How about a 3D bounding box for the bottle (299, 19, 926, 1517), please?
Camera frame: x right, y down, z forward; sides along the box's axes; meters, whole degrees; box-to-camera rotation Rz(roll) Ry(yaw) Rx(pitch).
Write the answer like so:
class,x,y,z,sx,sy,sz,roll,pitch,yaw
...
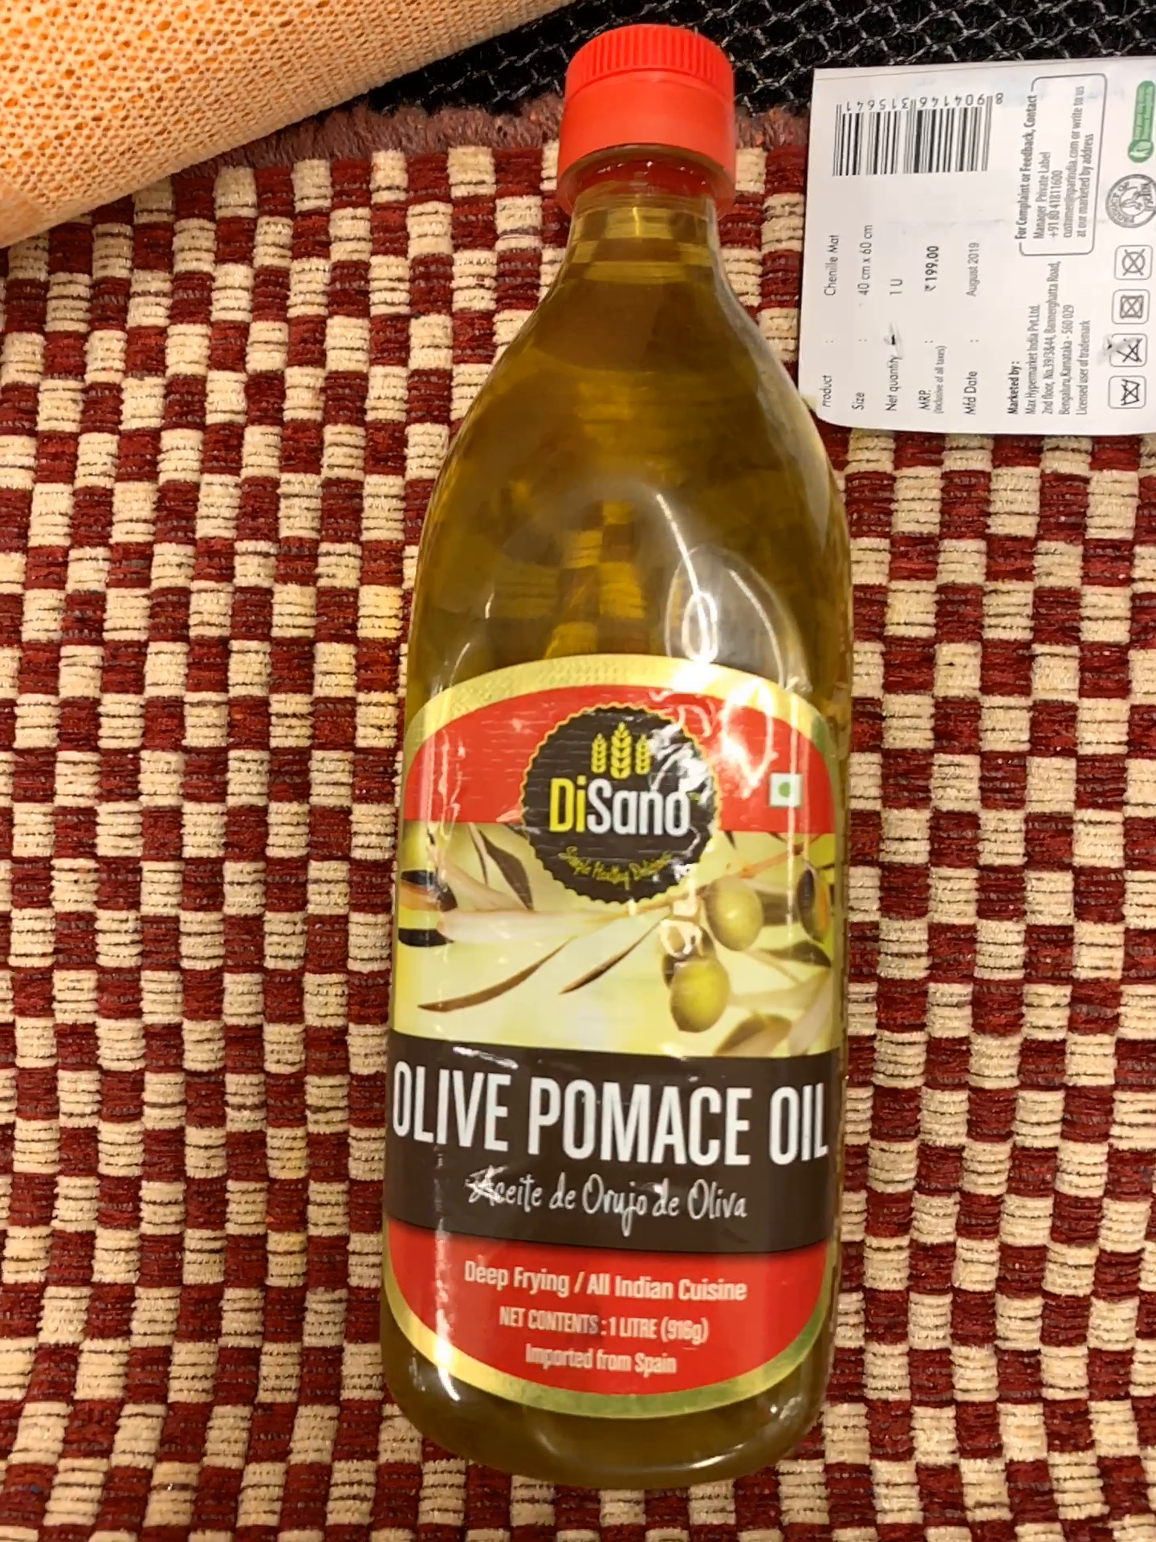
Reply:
class,x,y,z,sx,sy,sz,roll,pitch,yaw
bottle,0.005,-0.001,0.210,0.080,0.080,0.210,3,88,-1
